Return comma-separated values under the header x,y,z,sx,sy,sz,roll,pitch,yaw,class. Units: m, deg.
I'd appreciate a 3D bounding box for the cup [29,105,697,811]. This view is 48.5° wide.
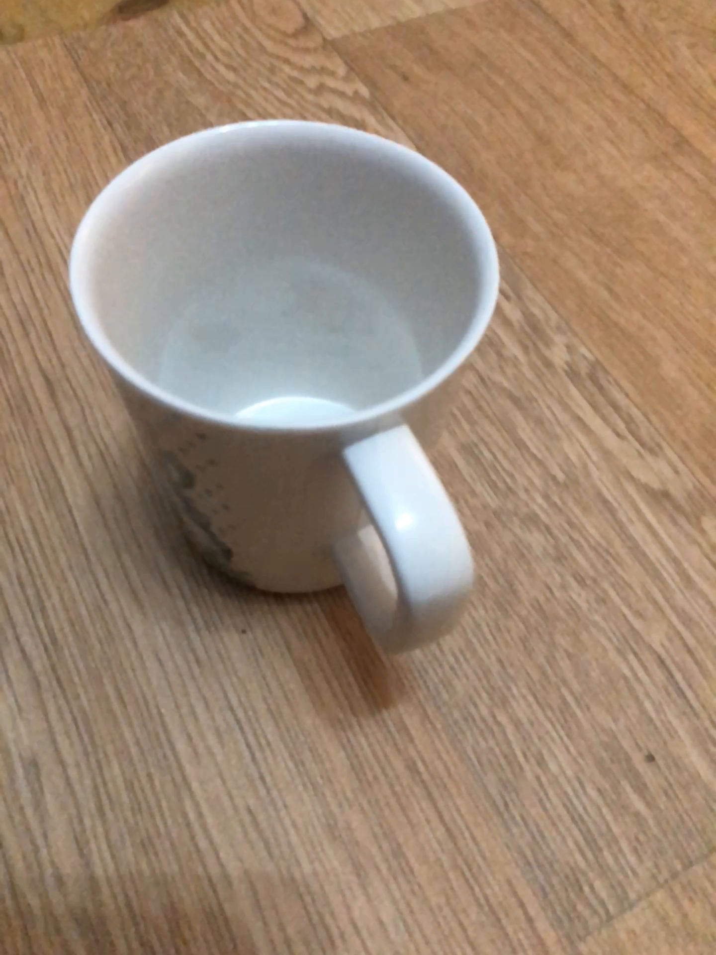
x,y,z,sx,sy,sz,roll,pitch,yaw,class
-0.007,-0.005,0.174,0.080,0.080,0.110,-19,62,-14,cup
